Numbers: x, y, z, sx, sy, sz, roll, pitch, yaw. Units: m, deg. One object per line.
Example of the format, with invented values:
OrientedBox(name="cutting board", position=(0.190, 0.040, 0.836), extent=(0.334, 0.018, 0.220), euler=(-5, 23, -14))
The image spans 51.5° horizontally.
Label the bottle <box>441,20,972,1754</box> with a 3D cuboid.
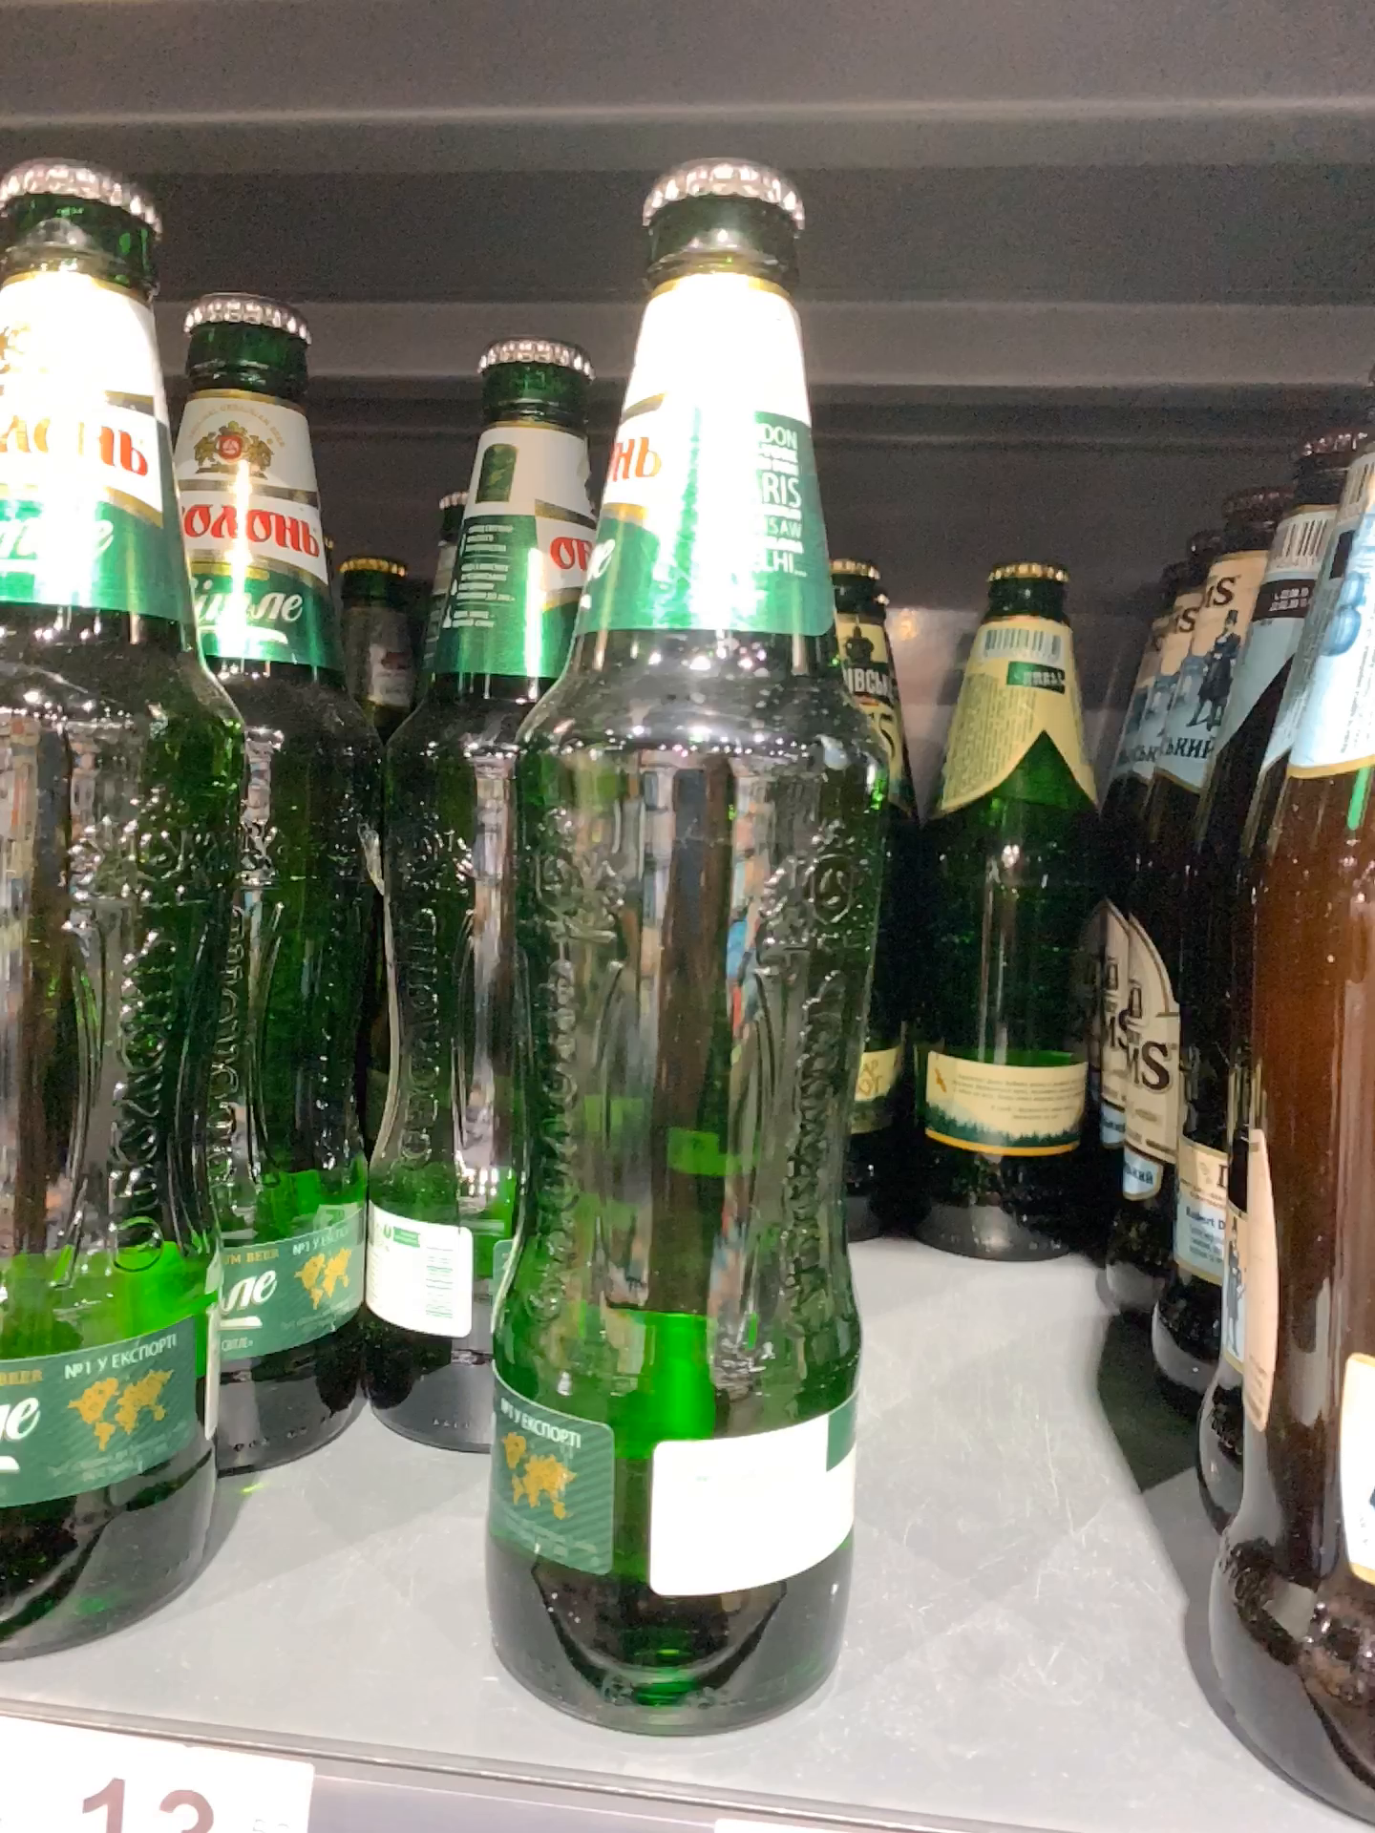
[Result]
OrientedBox(name="bottle", position=(-0.003, -0.002, 0.254), extent=(0.070, 0.257, 0.073), euler=(2, 4, 0))
